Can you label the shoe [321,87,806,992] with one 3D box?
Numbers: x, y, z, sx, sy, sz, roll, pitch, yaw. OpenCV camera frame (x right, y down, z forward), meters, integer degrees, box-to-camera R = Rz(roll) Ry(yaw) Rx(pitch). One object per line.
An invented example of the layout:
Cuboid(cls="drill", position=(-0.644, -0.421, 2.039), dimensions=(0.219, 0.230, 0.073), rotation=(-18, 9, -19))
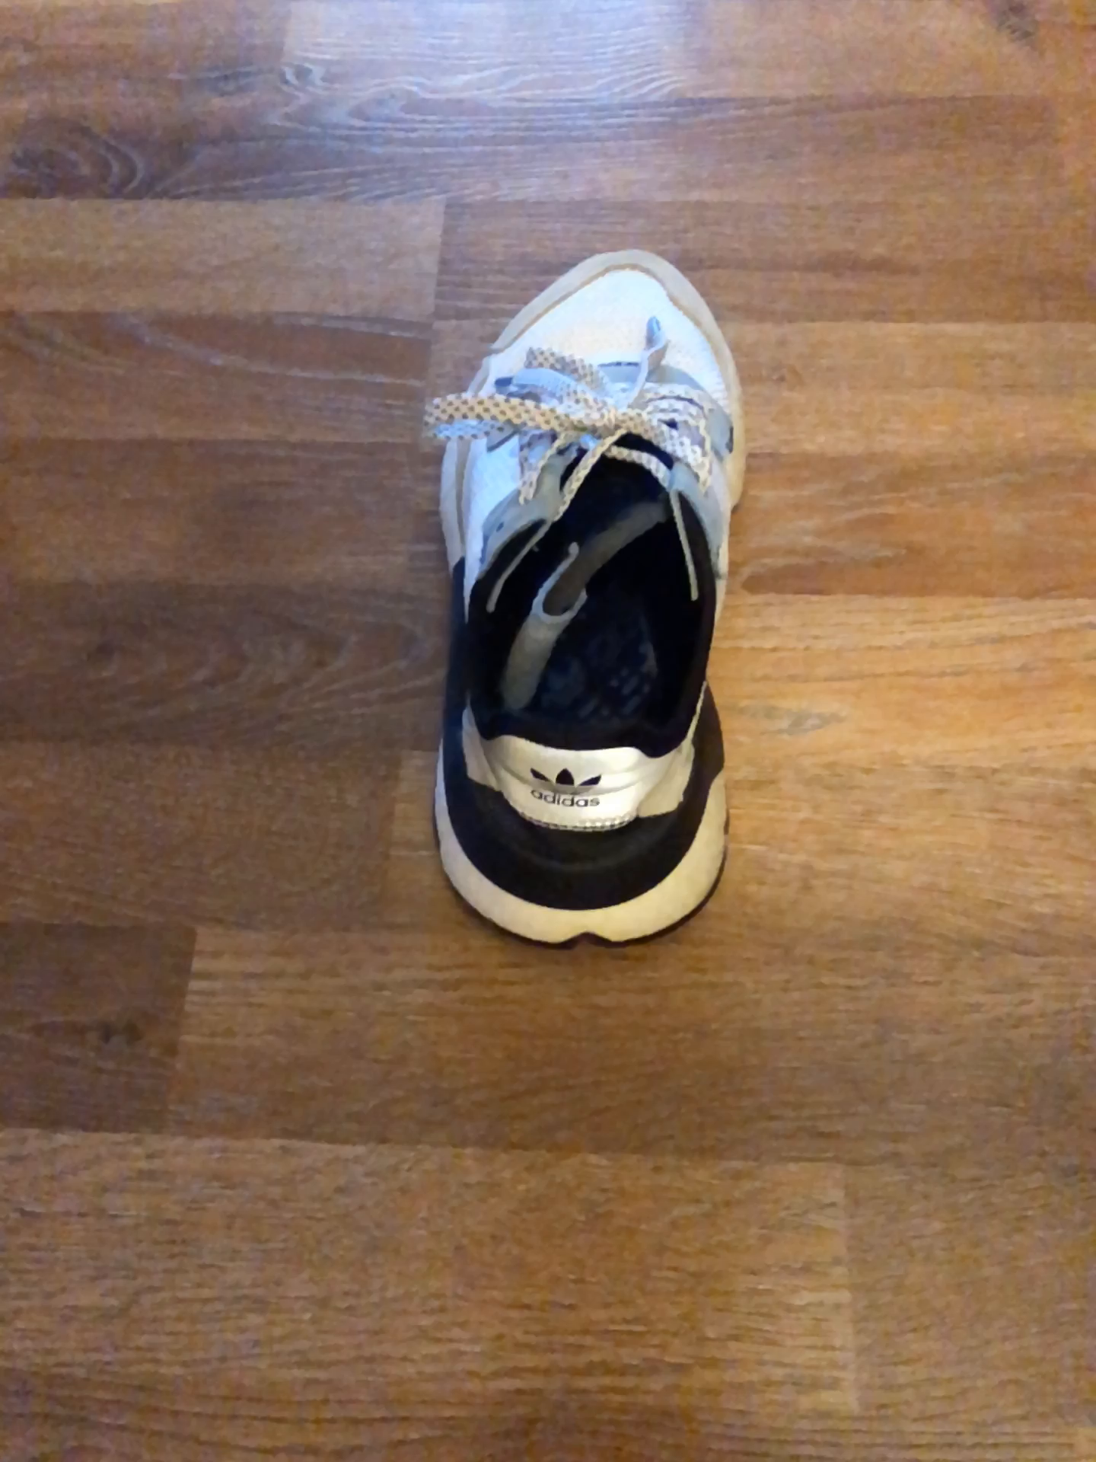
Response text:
Cuboid(cls="shoe", position=(0.009, -0.065, 0.391), dimensions=(0.113, 0.110, 0.271), rotation=(1, 65, 2))
